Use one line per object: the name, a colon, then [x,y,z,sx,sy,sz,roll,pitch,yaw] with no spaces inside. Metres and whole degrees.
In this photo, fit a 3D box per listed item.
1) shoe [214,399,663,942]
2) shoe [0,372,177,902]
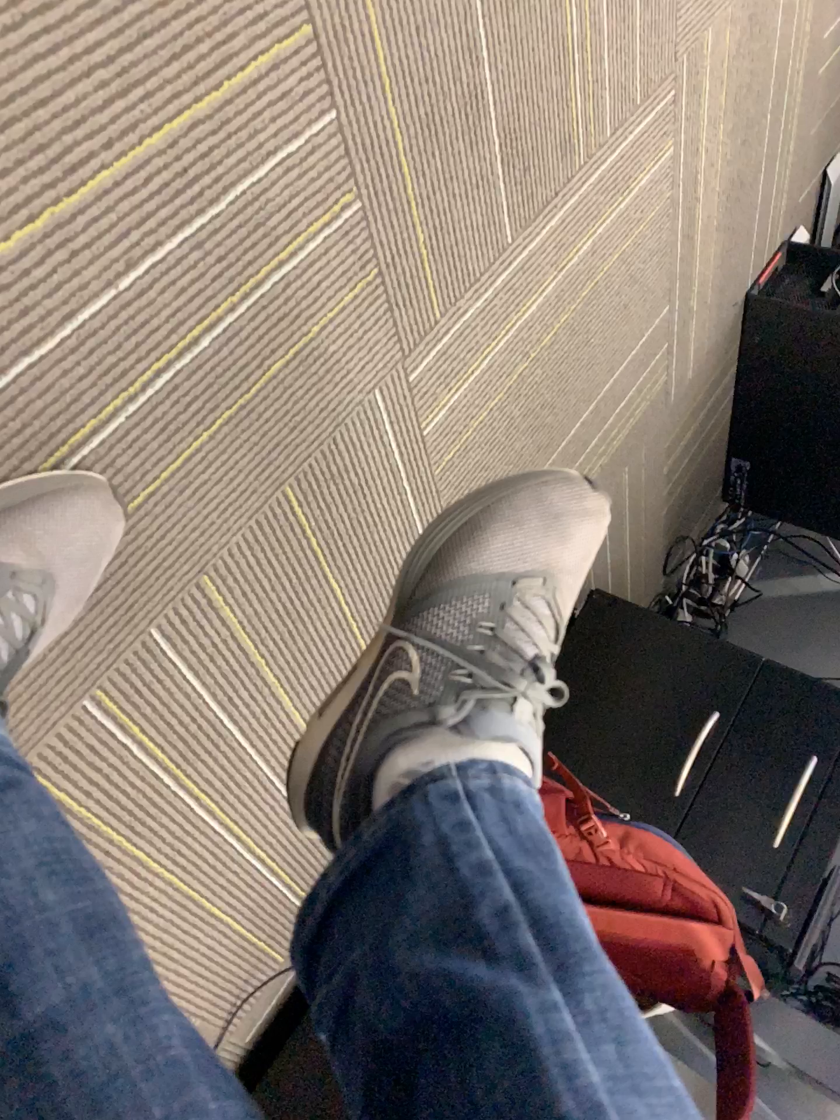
shoe: [0.018,0.060,0.550,0.127,0.115,0.297,38,72,-28]
shoe: [-0.355,0.025,0.564,0.310,0.179,0.124,-45,144,-33]
